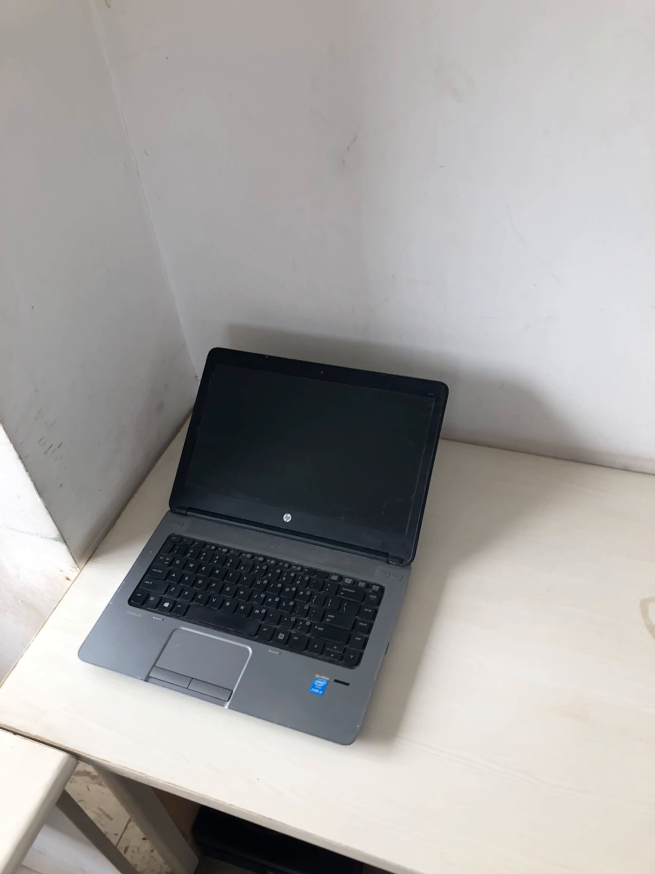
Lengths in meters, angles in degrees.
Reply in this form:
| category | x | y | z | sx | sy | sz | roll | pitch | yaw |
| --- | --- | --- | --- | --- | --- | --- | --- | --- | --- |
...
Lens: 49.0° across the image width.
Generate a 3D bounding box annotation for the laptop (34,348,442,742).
| category | x | y | z | sx | sy | sz | roll | pitch | yaw |
| --- | --- | --- | --- | --- | --- | --- | --- | --- | --- |
| laptop | -0.070 | 0.095 | 0.870 | 0.327 | 0.137 | 0.407 | 11 | 47 | 16 |
